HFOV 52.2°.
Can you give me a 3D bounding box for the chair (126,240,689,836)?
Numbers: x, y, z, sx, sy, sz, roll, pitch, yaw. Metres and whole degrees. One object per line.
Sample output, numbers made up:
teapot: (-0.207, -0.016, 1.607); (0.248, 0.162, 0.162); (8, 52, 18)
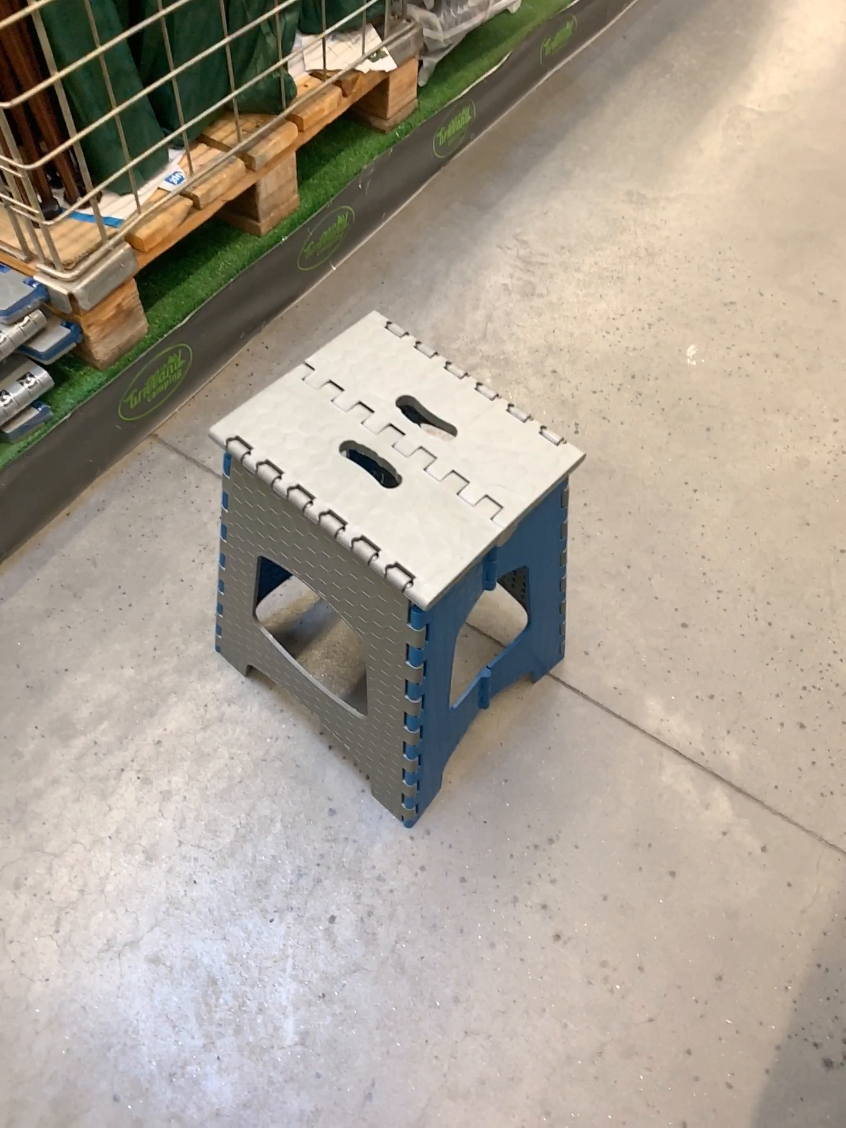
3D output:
chair: (-0.019, -0.012, 0.924); (0.350, 0.419, 0.340); (38, 63, 19)
